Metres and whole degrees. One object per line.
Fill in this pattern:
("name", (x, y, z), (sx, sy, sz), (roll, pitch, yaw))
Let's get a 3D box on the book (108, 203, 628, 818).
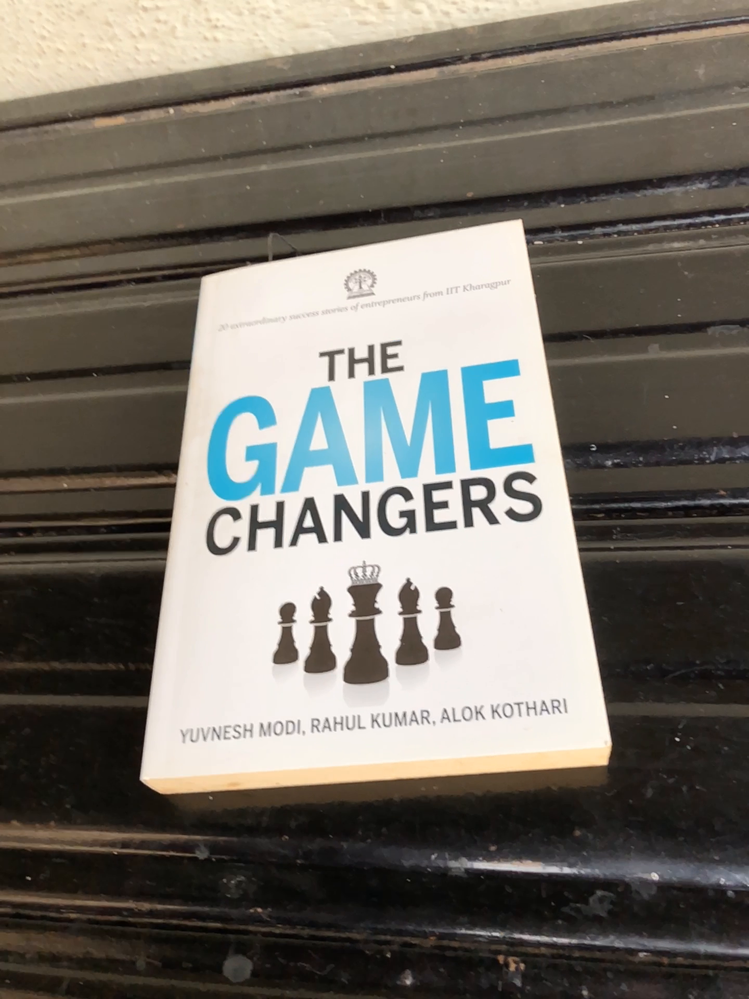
("book", (-0.004, -0.008, 0.289), (0.140, 0.030, 0.210), (-7, 57, 10))
